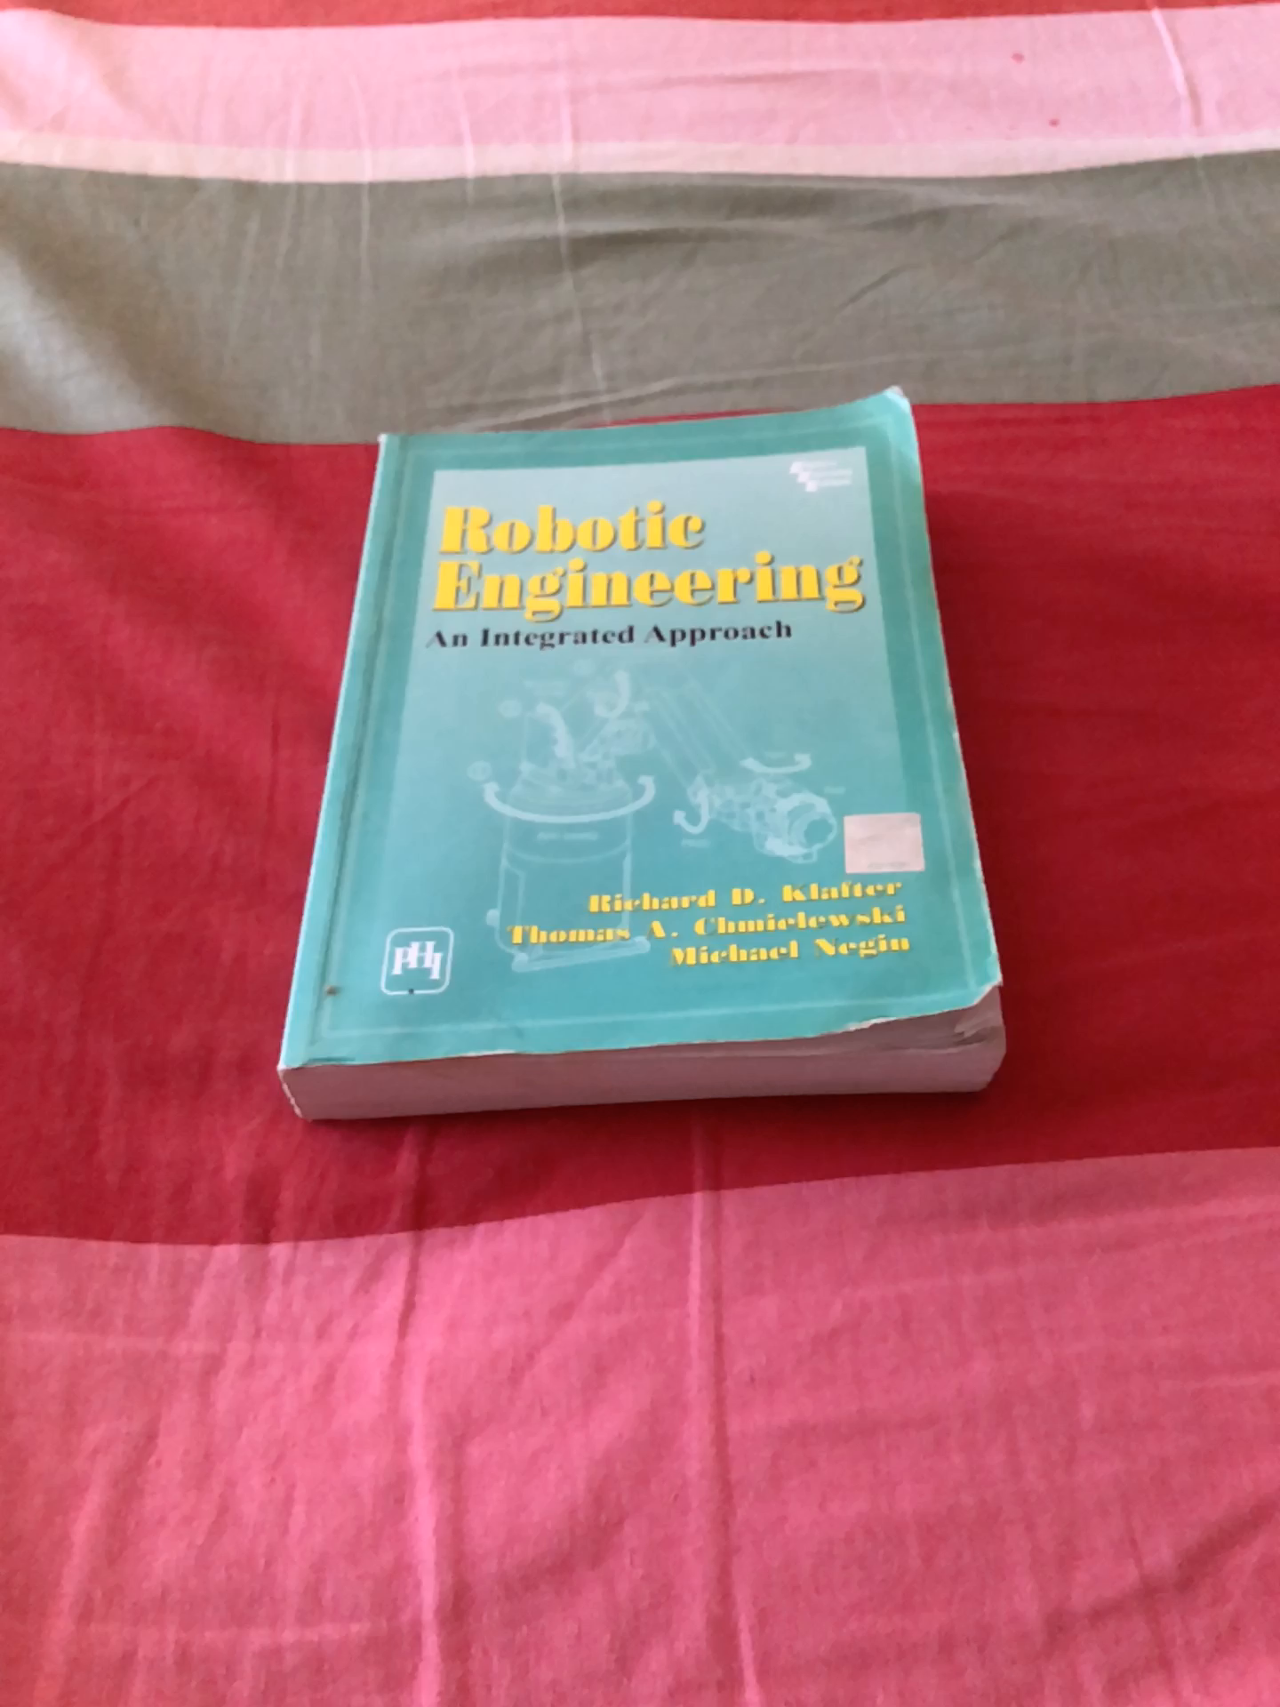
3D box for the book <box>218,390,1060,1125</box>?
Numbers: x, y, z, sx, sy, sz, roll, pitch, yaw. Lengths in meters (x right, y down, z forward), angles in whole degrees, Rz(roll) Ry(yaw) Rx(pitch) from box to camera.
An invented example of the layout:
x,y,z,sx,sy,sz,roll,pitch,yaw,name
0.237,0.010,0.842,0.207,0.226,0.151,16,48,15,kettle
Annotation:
x,y,z,sx,sy,sz,roll,pitch,yaw,name
0.000,-0.035,0.368,0.171,0.043,0.205,-1,54,2,book
